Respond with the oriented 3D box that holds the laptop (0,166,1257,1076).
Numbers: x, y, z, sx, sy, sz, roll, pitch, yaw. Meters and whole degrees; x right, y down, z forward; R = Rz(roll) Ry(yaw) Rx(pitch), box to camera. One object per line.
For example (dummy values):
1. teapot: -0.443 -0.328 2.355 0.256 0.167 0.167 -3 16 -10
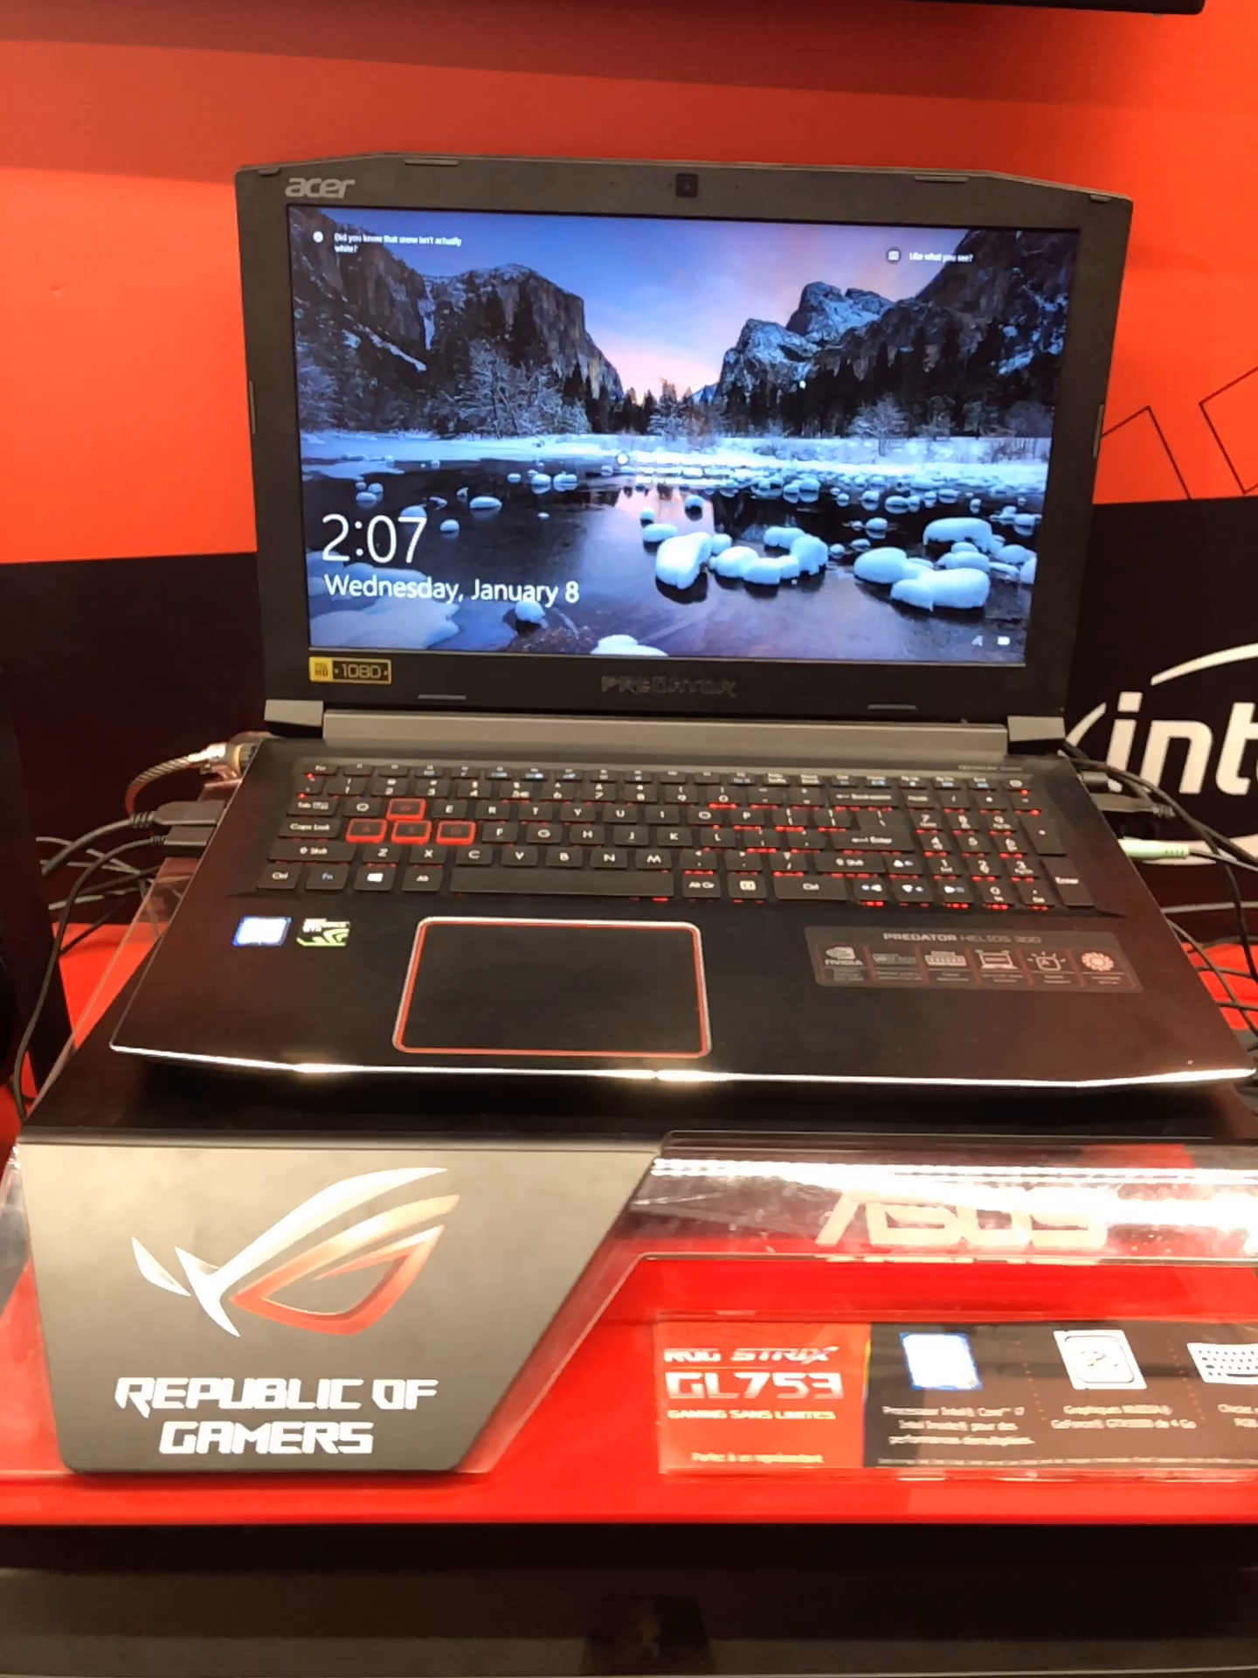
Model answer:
1. laptop: 0.024 -0.106 0.536 0.385 0.240 0.295 2 29 -1
